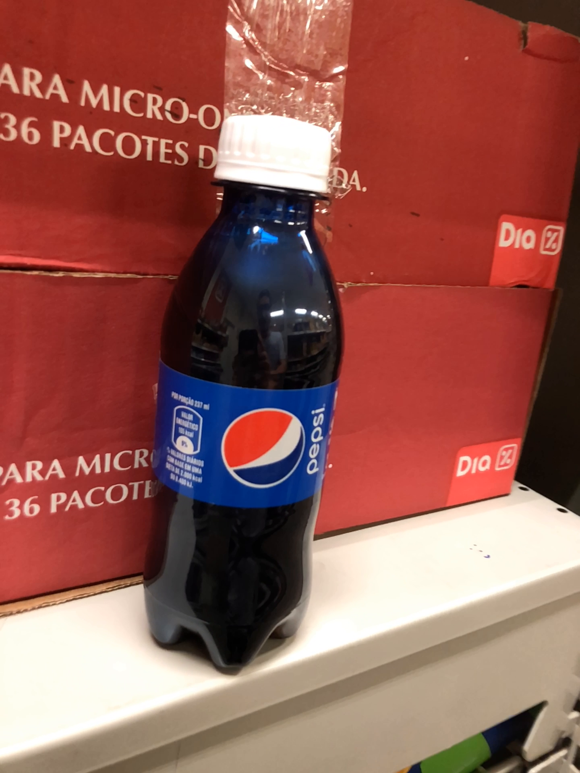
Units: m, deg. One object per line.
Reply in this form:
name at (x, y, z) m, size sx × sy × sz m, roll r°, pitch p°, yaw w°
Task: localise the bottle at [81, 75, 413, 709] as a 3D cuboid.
bottle at (-0.018, -0.001, 0.184) m, size 0.060 × 0.149 × 0.060 m, roll 4°, pitch 18°, yaw -1°
